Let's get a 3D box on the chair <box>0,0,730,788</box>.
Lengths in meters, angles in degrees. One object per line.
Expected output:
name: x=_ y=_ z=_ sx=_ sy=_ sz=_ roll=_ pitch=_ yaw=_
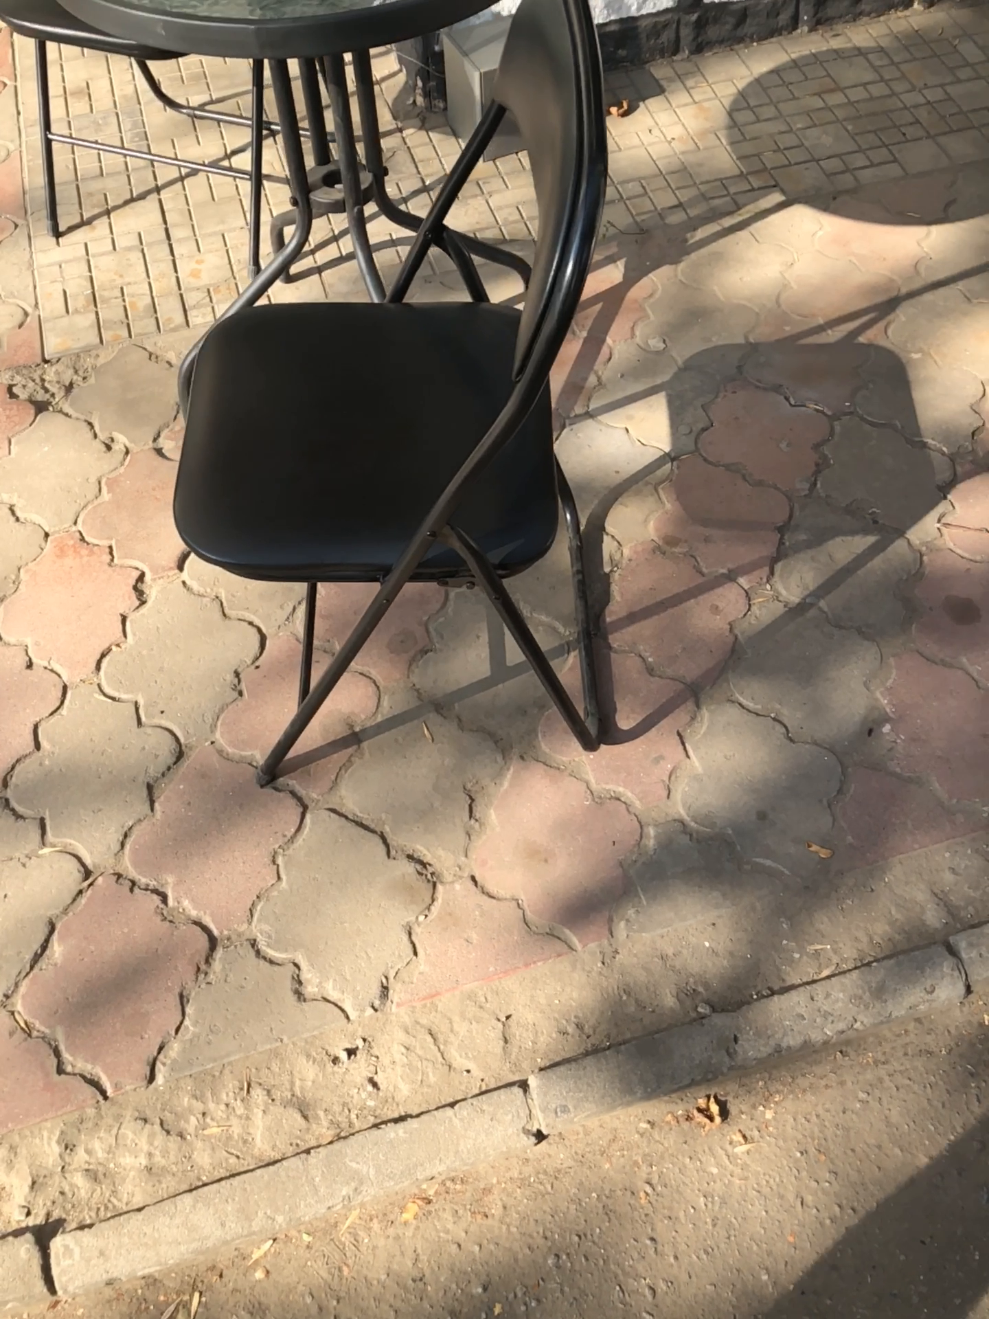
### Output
chair: x=-0.098 y=-0.325 z=1.353 sx=0.570 sy=0.837 sz=0.582 roll=-2 pitch=50 yaw=0
